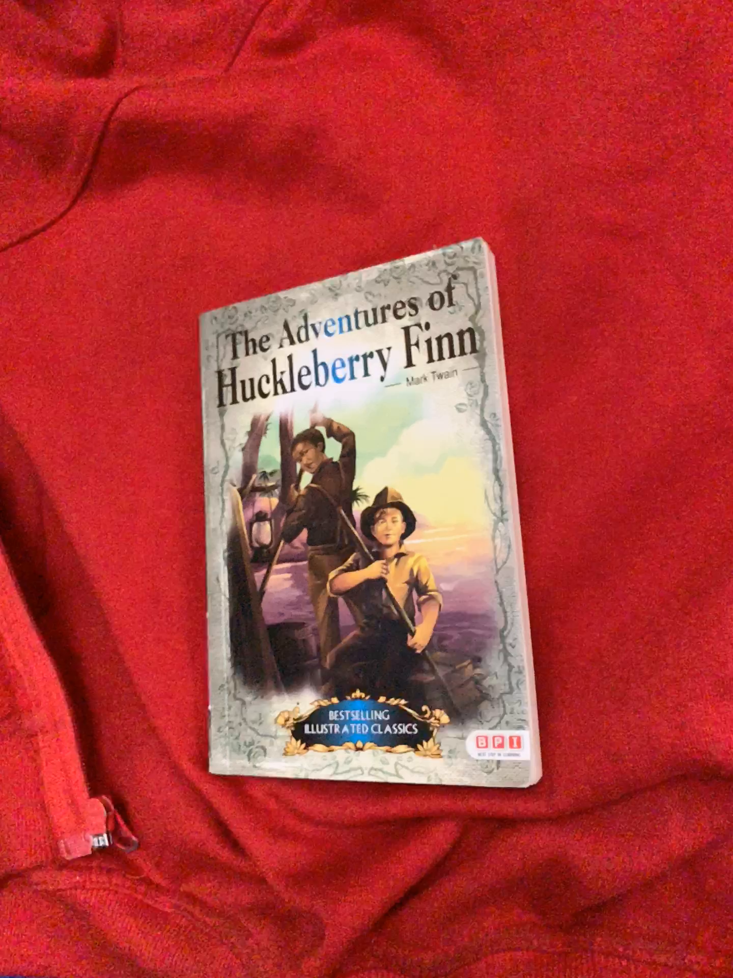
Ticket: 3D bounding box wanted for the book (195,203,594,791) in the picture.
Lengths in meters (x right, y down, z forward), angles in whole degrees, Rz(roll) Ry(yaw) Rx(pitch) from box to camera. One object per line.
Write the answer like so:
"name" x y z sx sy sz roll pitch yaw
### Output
"book" 0.001 0.005 0.265 0.130 0.020 0.180 -8 78 24
